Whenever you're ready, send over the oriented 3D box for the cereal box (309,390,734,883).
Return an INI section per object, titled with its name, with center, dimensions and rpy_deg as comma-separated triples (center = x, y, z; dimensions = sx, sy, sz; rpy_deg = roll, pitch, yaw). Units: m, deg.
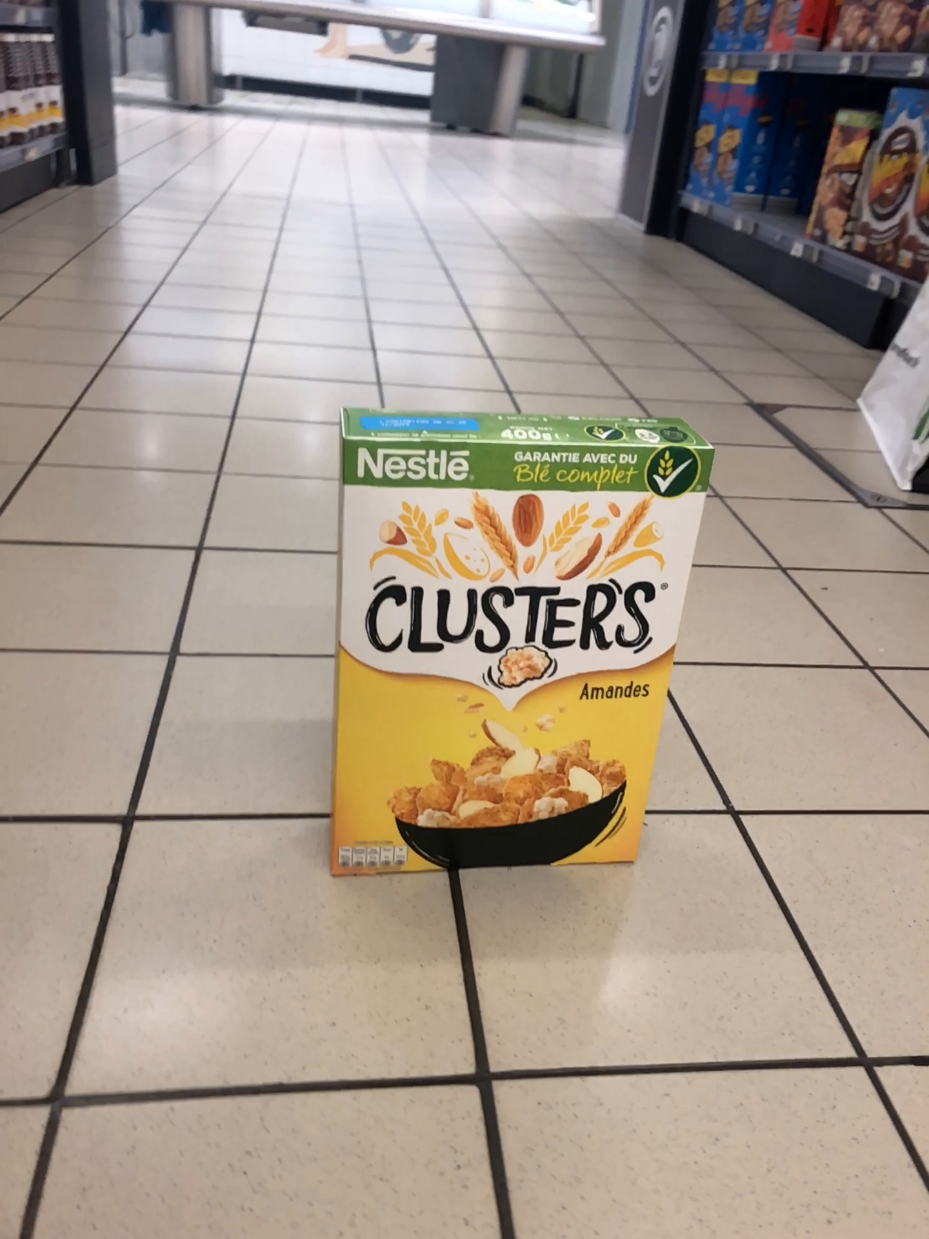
[cereal box]
center = 0.018, 0.018, 0.587
dimensions = 0.210, 0.278, 0.060
rpy_deg = 0, 27, -9
